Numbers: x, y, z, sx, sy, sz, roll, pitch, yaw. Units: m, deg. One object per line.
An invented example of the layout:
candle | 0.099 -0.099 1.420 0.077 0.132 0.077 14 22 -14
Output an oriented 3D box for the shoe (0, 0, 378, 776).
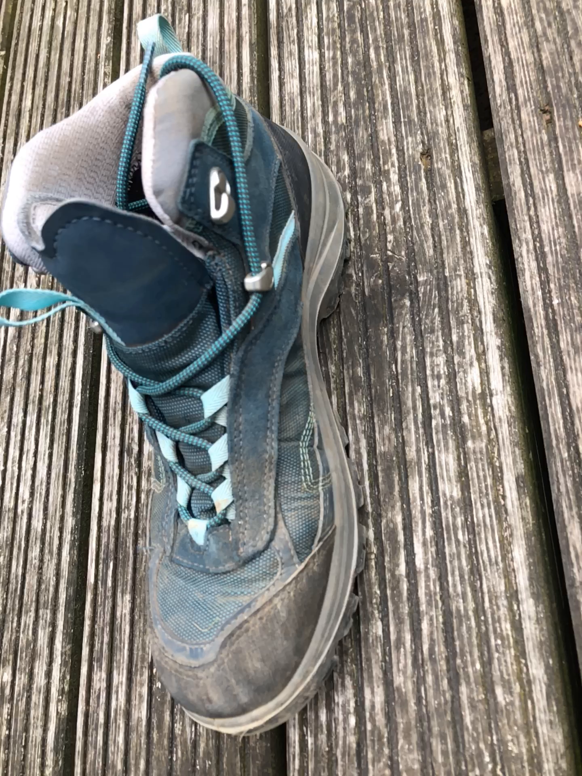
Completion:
shoe | -0.047 -0.003 0.270 0.120 0.120 0.280 -9 71 27
